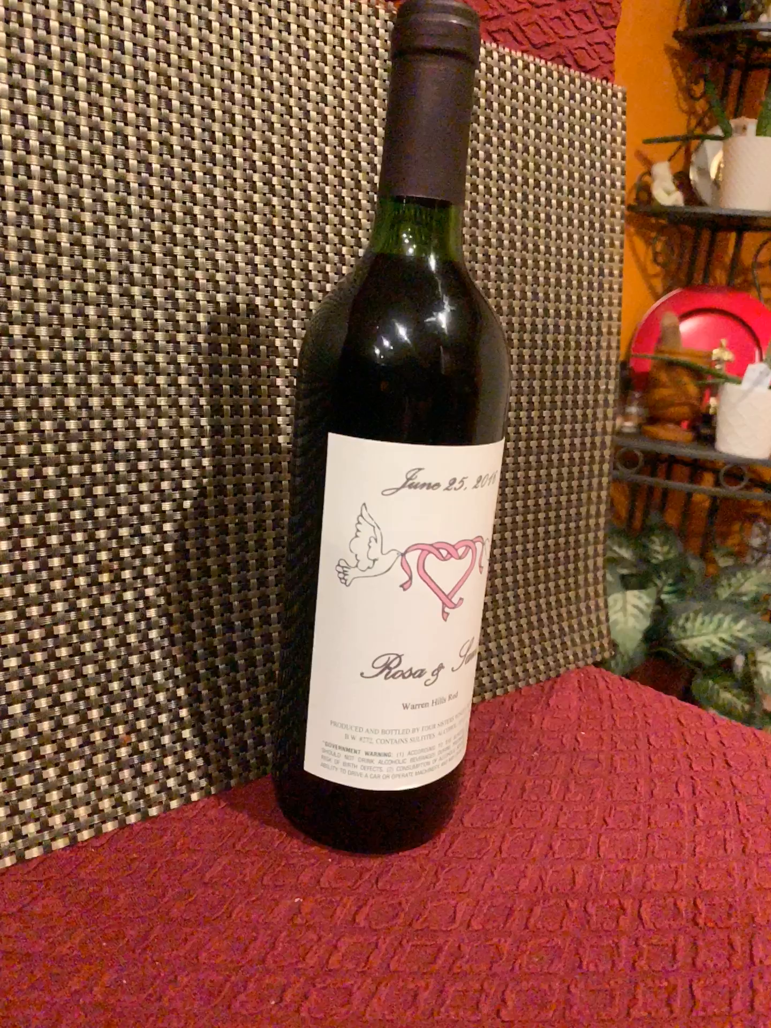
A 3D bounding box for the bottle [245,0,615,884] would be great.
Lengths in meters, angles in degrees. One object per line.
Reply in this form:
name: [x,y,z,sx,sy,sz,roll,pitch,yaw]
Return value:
bottle: [0.007,-0.023,0.284,0.080,0.289,0.060,-5,18,-35]
